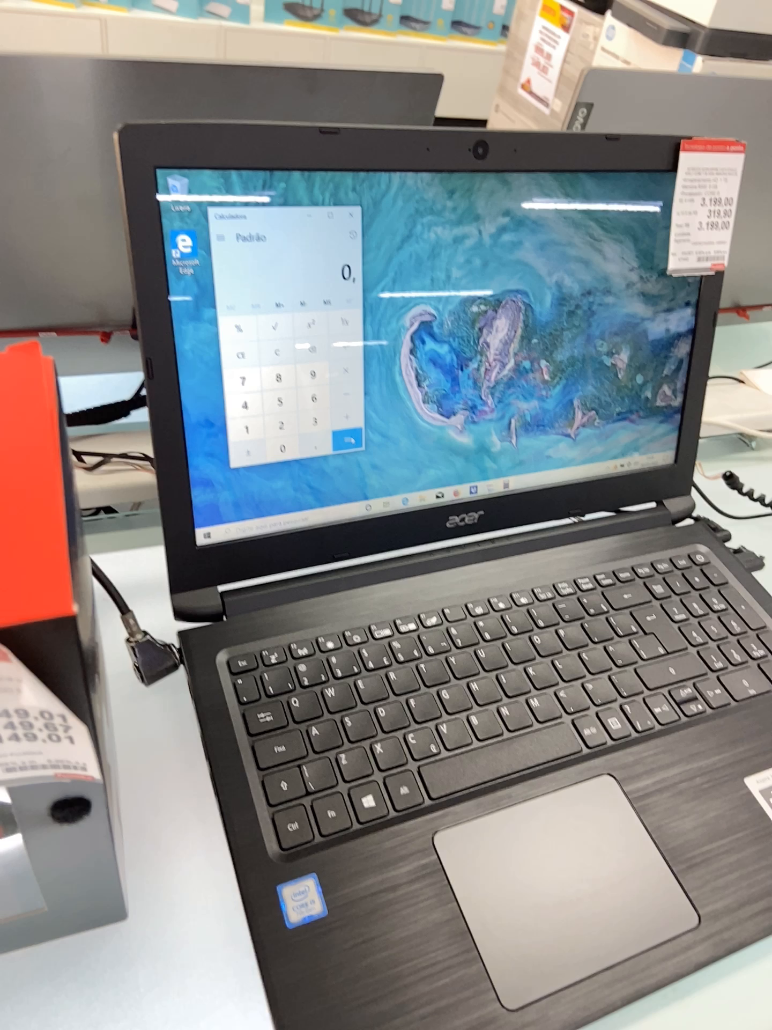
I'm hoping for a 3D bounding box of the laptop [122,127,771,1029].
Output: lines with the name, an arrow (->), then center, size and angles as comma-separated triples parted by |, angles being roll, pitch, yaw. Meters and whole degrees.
laptop -> 0.098, -0.005, 0.393 | 0.375, 0.227, 0.354 | -10, 47, -21
